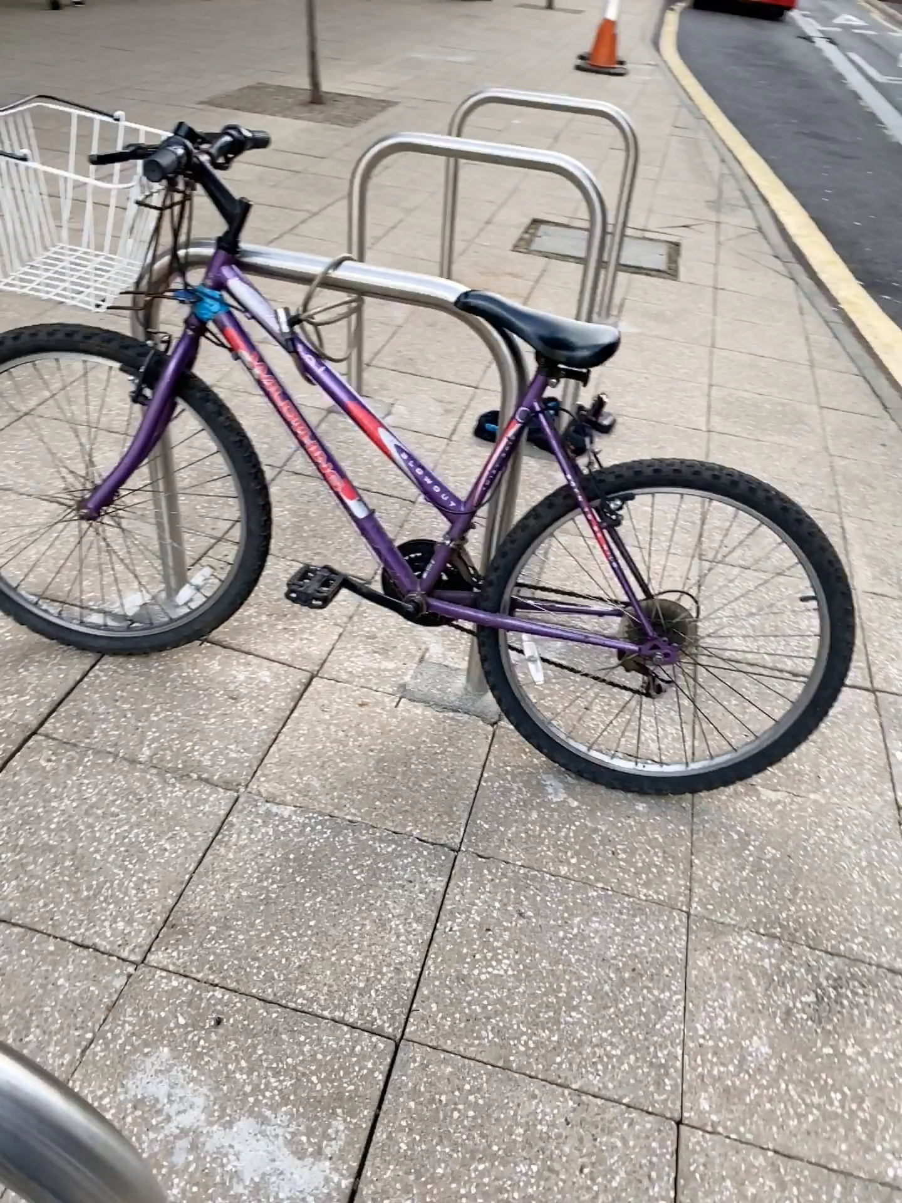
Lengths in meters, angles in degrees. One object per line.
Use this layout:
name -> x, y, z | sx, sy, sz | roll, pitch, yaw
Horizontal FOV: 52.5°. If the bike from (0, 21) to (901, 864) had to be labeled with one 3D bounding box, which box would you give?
bike -> -0.114, -0.279, 1.653 | 1.732, 1.042, 0.585 | 11, 37, 4
